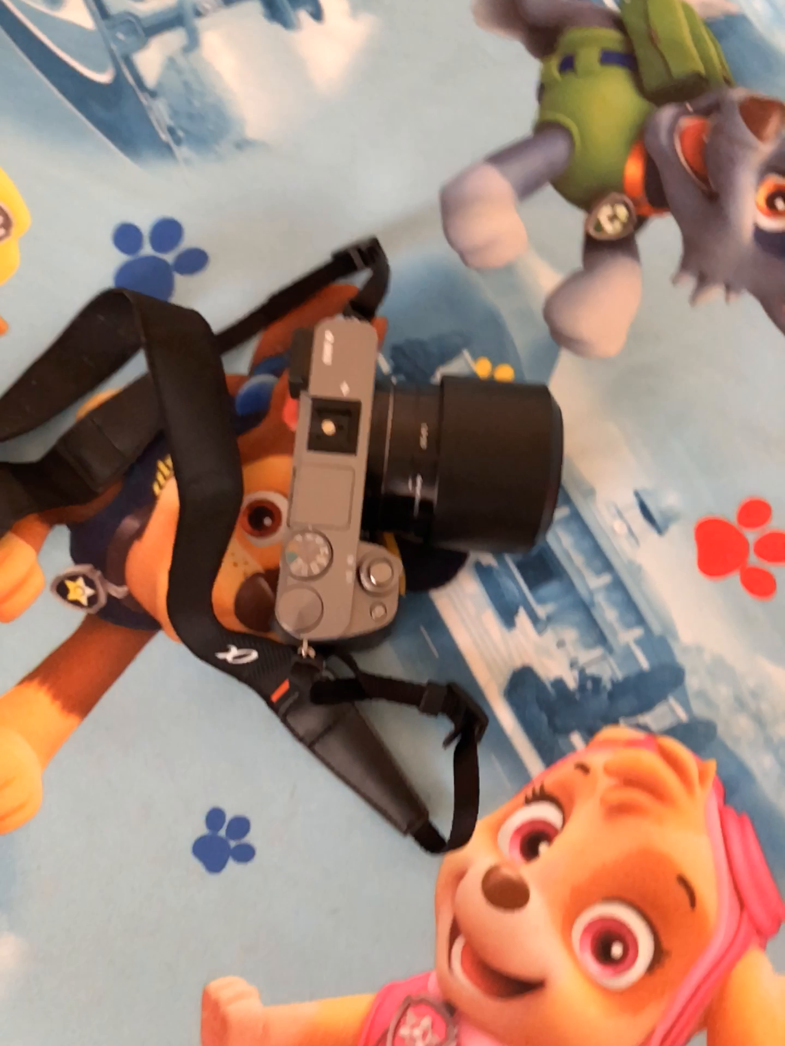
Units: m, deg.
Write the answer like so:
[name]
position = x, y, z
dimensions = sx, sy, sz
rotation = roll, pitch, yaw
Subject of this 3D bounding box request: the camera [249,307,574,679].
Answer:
[camera]
position = 0.009, -0.007, 0.364
dimensions = 0.110, 0.080, 0.130
rotation = 5, 78, 0
